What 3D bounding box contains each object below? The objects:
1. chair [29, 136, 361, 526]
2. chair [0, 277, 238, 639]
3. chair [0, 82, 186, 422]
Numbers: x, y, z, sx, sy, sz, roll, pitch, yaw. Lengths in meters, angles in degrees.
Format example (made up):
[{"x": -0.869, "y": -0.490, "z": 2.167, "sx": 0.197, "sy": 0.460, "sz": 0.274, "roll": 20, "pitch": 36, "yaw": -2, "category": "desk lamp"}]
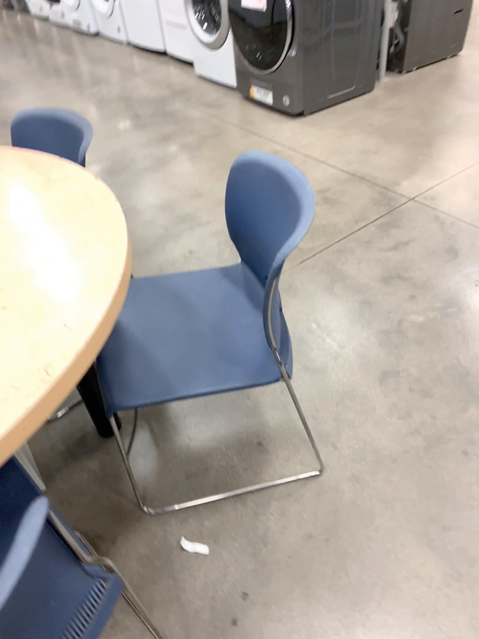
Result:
[{"x": -0.085, "y": 0.048, "z": 1.218, "sx": 0.551, "sy": 0.750, "sz": 0.485, "roll": -12, "pitch": 43, "yaw": -6, "category": "chair"}, {"x": -0.404, "y": 0.447, "z": 0.783, "sx": 0.572, "sy": 0.730, "sz": 0.484, "roll": 30, "pitch": 54, "yaw": 33, "category": "chair"}, {"x": -0.577, "y": -0.211, "z": 1.480, "sx": 0.484, "sy": 0.750, "sz": 0.532, "roll": 31, "pitch": 54, "yaw": 34, "category": "chair"}]
